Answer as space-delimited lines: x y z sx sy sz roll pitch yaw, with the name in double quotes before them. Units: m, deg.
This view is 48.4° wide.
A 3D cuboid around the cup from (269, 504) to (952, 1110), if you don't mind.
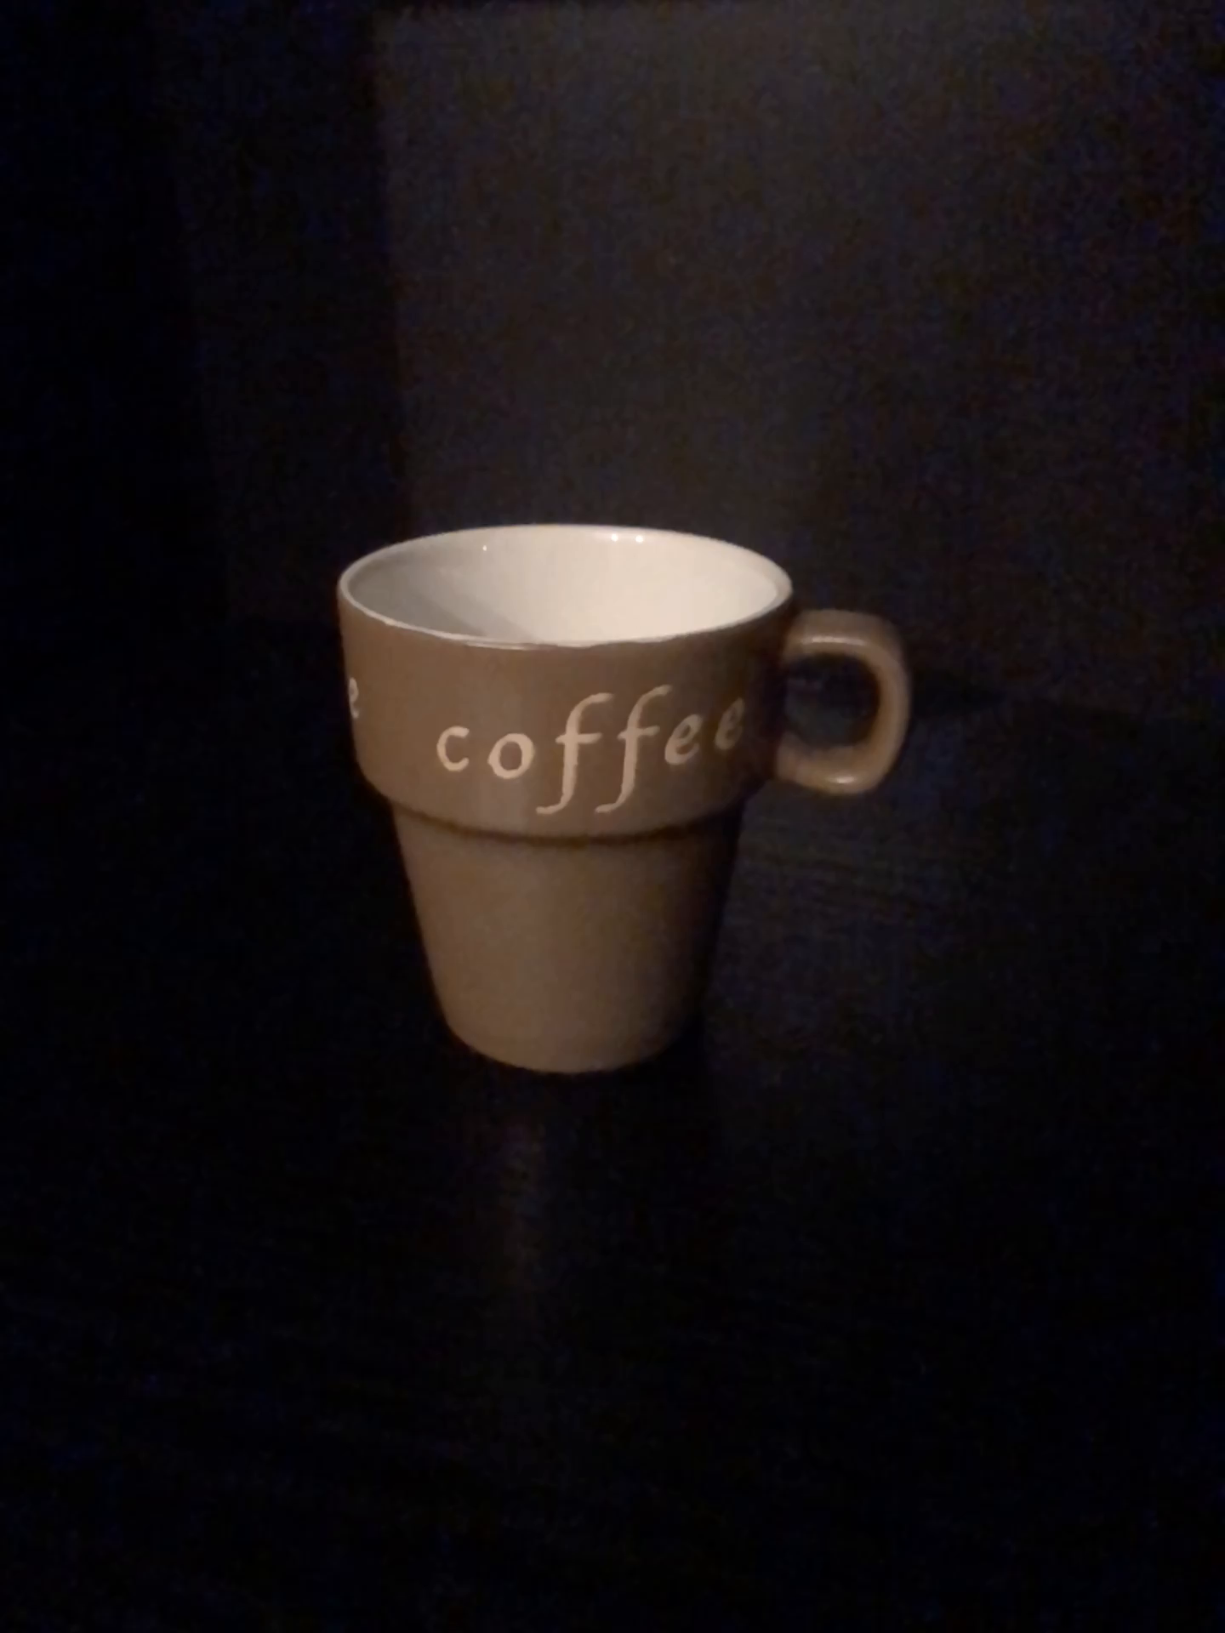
"cup" 0.005 -0.008 0.263 0.107 0.082 0.080 5 26 10
